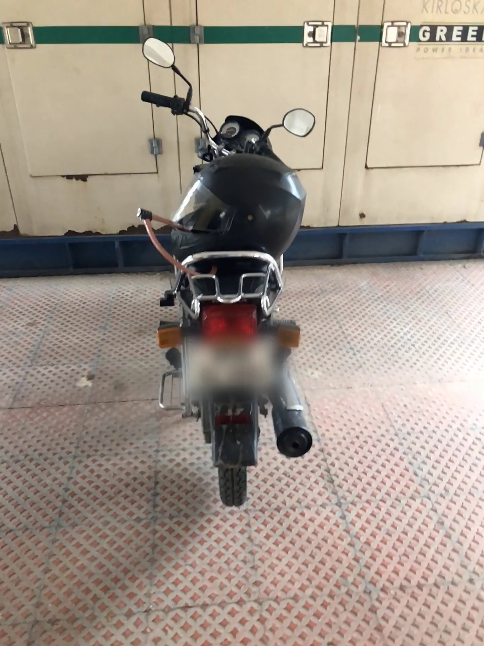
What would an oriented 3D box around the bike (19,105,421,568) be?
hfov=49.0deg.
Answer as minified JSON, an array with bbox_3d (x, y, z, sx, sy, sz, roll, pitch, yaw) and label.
[{"bbox_3d":[0.006,-0.194,2.079,0.735,1.087,1.869,2,27,2],"label":"bike"}]
